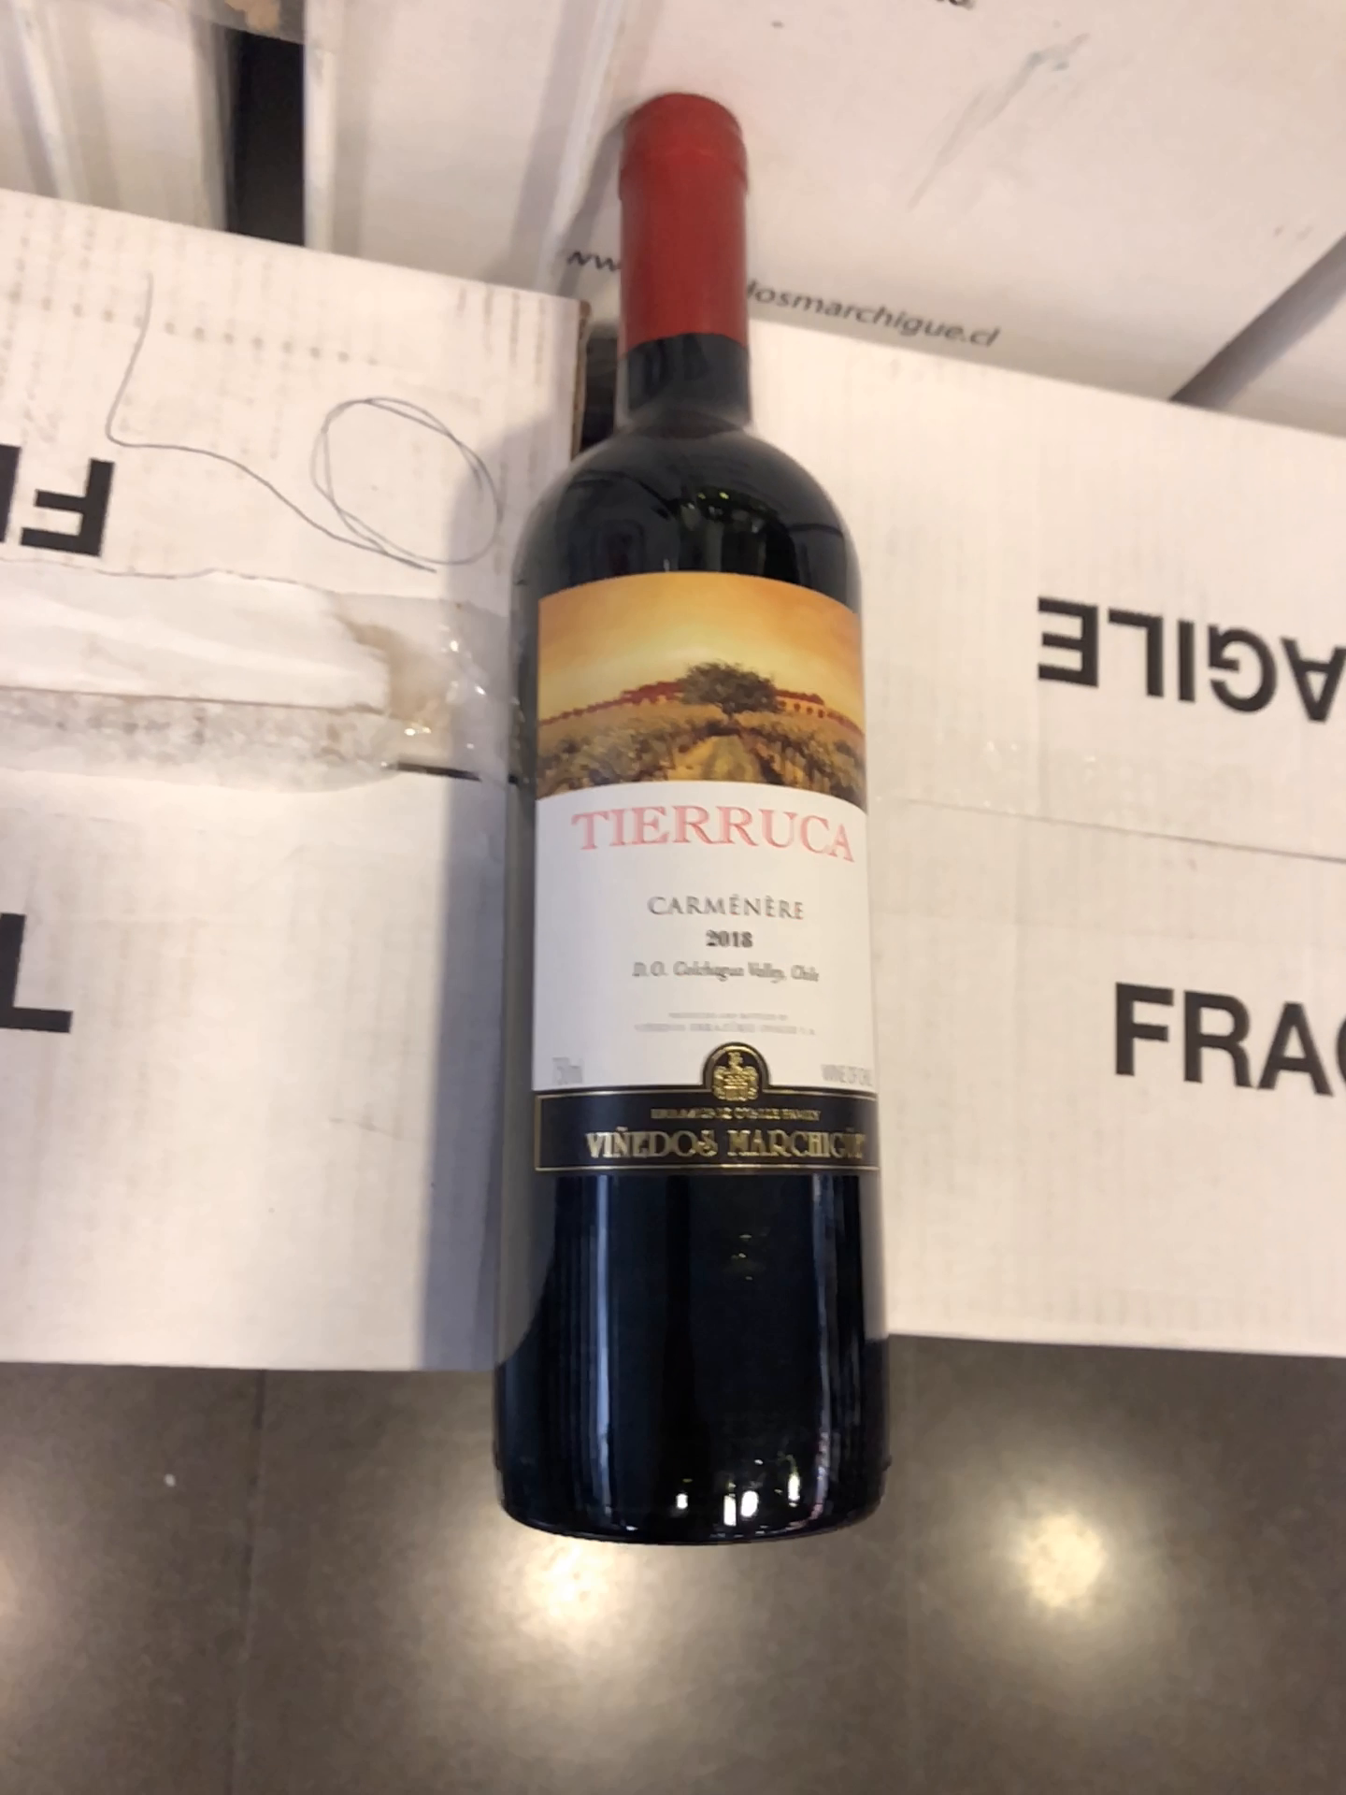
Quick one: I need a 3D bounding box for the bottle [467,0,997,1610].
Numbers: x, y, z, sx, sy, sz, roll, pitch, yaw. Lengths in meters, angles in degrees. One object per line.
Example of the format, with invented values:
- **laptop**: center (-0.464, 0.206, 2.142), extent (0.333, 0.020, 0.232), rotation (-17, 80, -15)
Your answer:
- **bottle**: center (0.007, -0.037, 0.312), extent (0.080, 0.080, 0.320), rotation (3, 78, -13)
